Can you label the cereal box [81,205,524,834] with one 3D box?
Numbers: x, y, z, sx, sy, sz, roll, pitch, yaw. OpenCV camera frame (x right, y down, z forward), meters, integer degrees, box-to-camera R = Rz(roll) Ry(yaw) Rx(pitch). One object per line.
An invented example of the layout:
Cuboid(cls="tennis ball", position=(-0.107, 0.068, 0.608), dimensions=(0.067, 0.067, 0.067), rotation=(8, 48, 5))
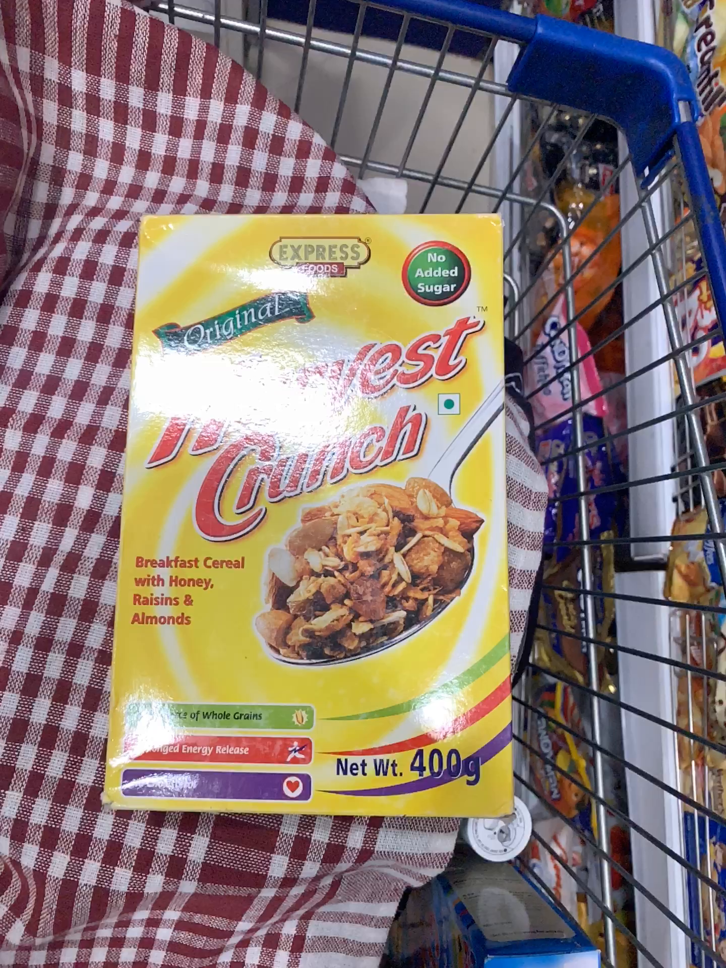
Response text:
Cuboid(cls="cereal box", position=(-0.018, 0.009, 0.290), dimensions=(0.150, 0.050, 0.220), rotation=(1, 83, 3))
